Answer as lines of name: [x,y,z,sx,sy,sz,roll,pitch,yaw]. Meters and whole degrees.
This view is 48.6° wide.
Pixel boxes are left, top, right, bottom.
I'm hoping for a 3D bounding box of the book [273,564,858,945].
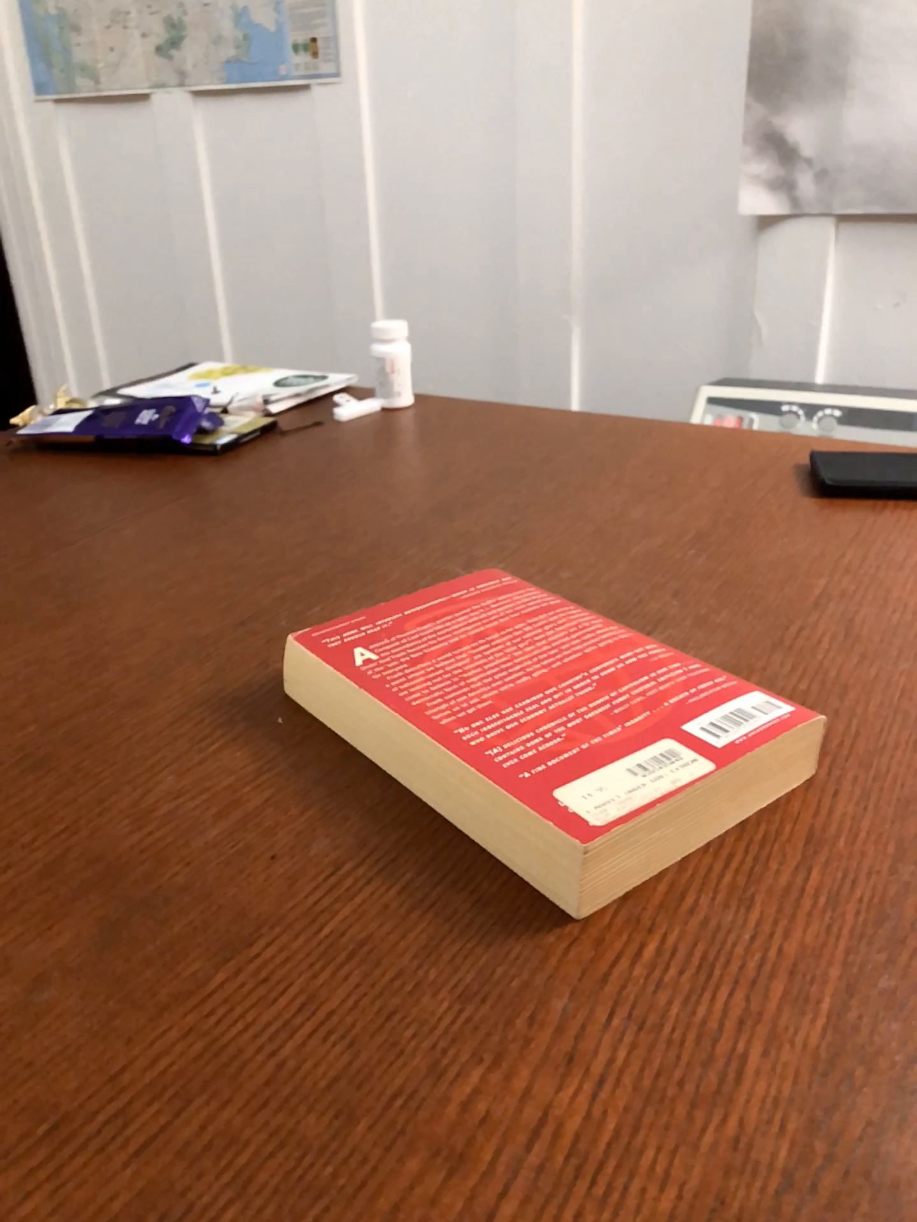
book: [0.034,0.041,0.434,0.140,0.030,0.211,-19,30,-33]
